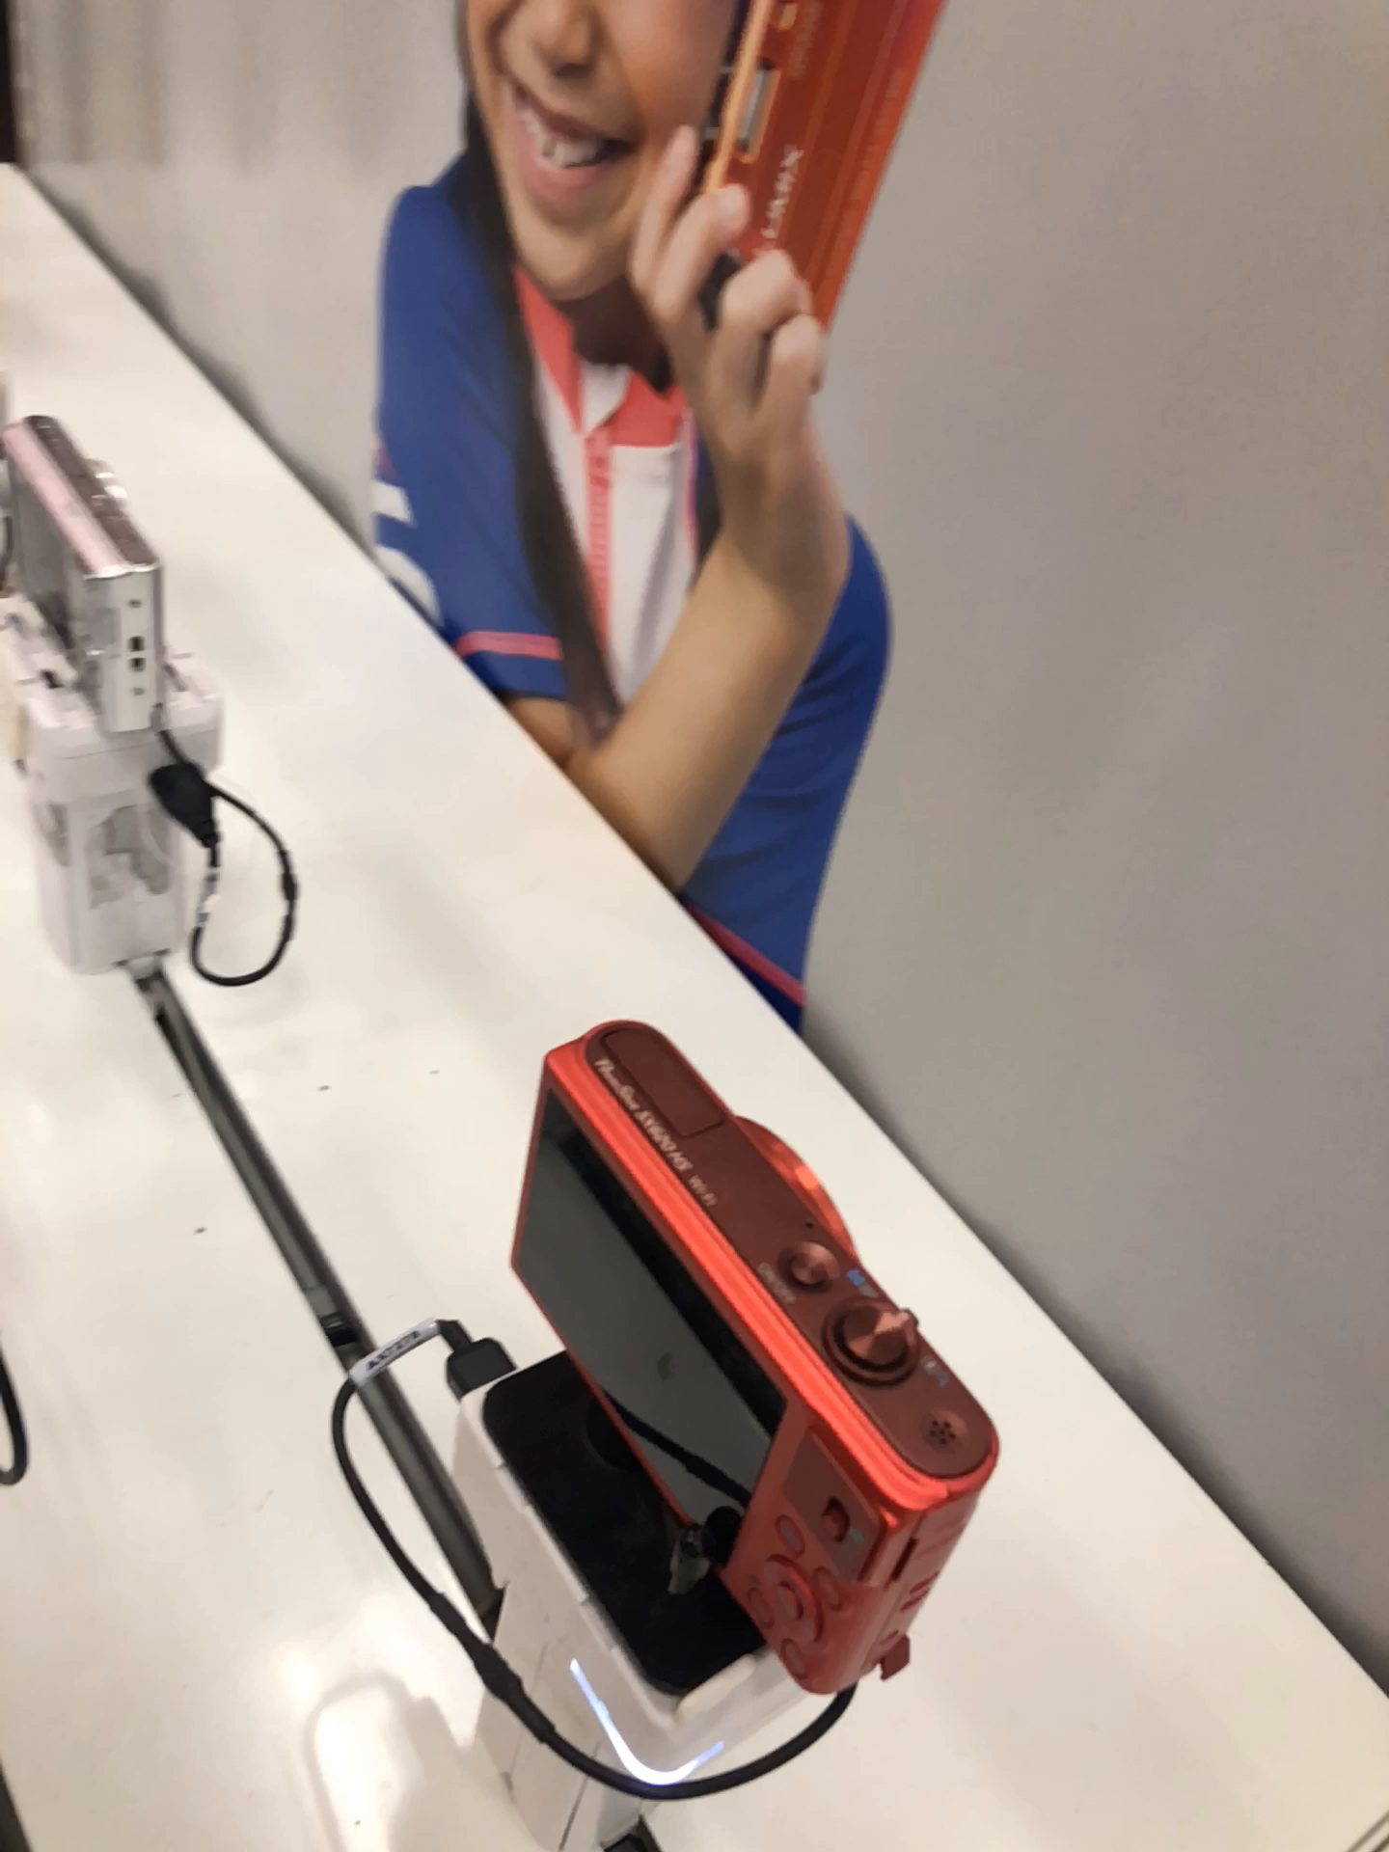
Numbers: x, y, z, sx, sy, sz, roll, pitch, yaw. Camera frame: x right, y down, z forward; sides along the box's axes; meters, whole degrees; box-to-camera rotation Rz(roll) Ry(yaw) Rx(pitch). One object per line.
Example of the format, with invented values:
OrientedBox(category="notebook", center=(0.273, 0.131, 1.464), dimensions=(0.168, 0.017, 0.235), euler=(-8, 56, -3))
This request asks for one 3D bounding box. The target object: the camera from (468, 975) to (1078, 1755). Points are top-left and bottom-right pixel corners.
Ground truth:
OrientedBox(category="camera", center=(0.005, 0.069, 0.258), dimensions=(0.030, 0.060, 0.110), euler=(-18, 48, -33))
